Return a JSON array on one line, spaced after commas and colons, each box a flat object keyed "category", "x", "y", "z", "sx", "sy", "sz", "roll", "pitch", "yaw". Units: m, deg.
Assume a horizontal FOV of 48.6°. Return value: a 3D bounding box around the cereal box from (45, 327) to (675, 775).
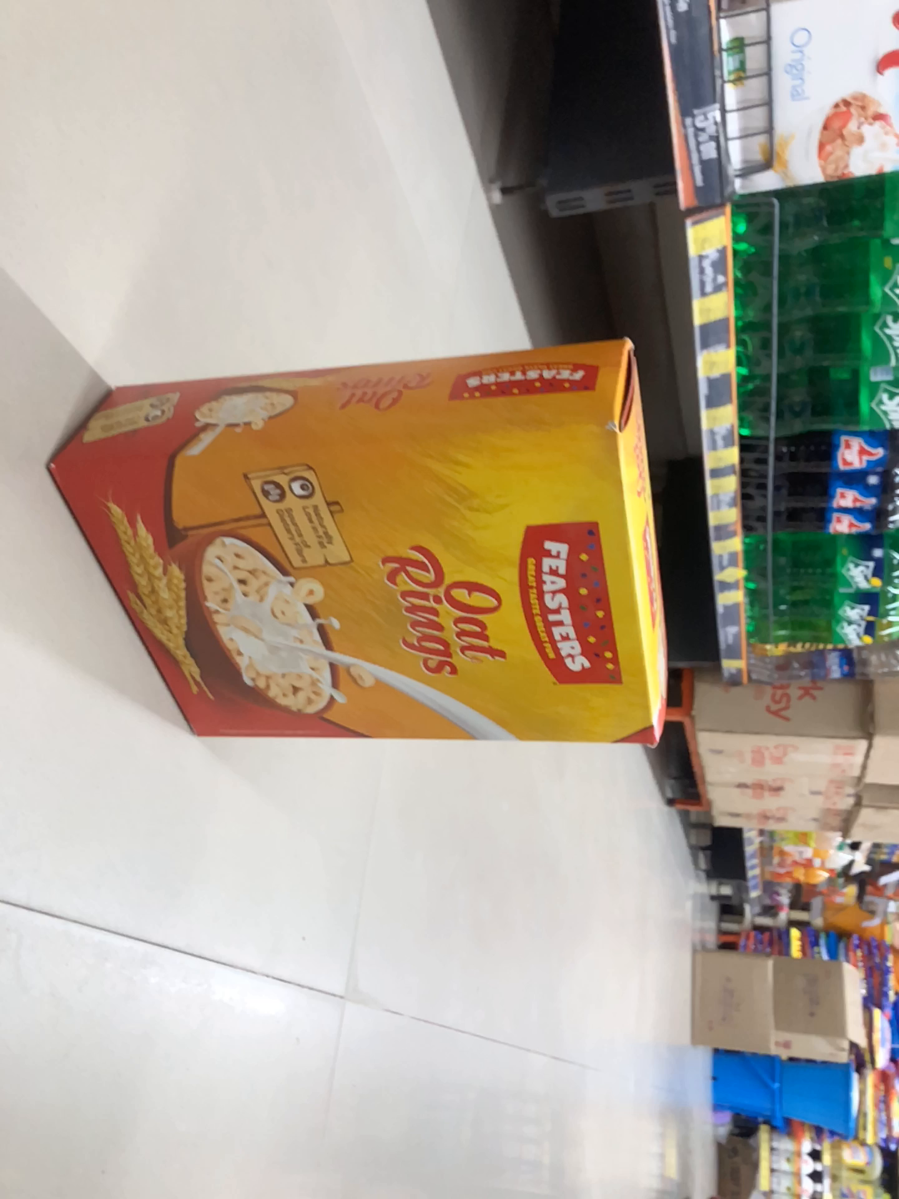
[{"category": "cereal box", "x": -0.023, "y": -0.009, "z": 0.424, "sx": 0.070, "sy": 0.219, "sz": 0.171, "roll": -74, "pitch": 156, "yaw": -48}]
